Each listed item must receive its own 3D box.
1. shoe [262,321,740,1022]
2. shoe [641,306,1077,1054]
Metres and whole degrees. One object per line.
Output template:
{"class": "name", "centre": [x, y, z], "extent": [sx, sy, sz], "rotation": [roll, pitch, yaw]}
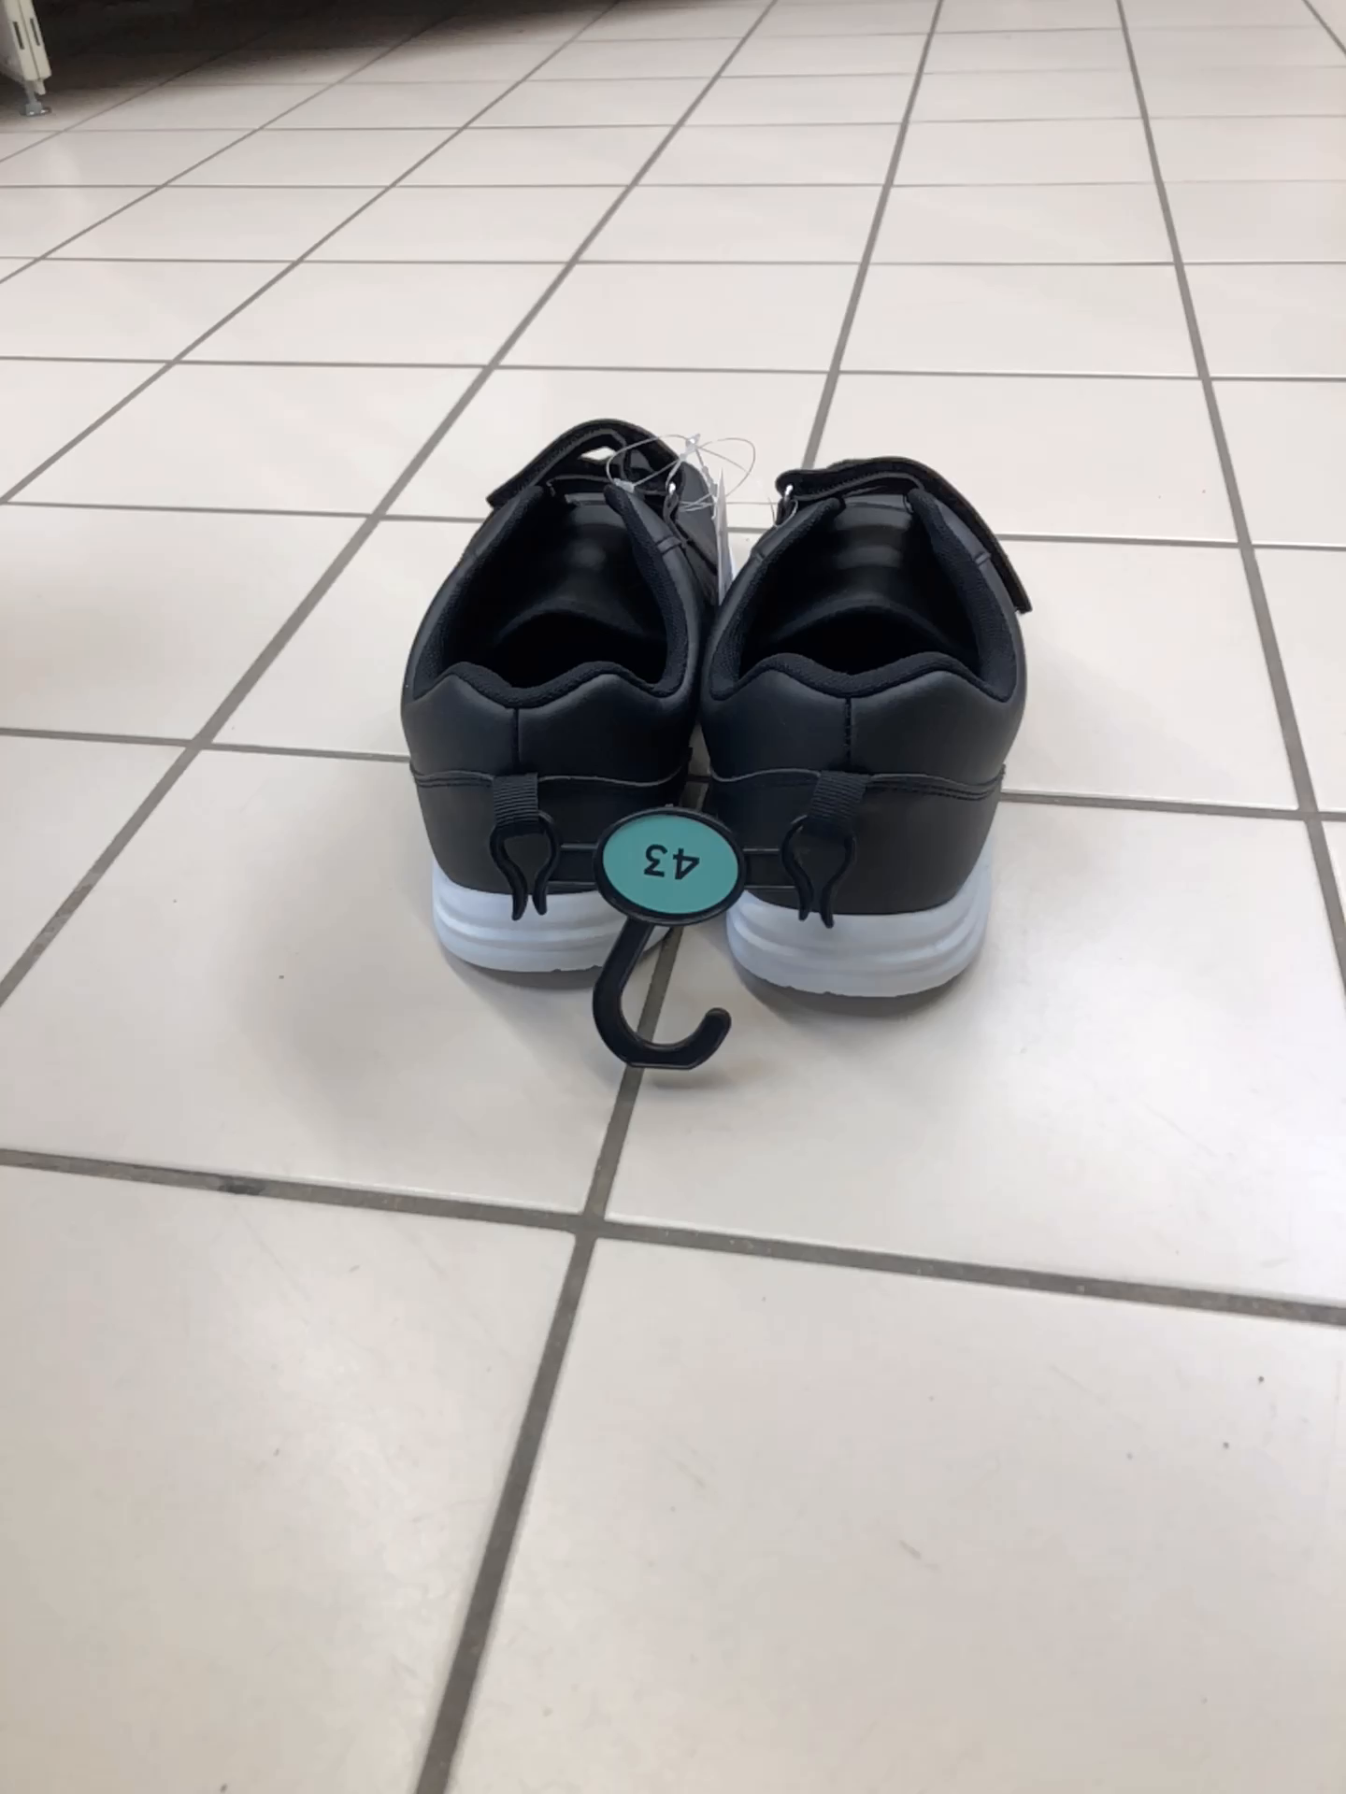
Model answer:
{"class": "shoe", "centre": [-0.037, -0.101, 0.523], "extent": [0.100, 0.099, 0.312], "rotation": [1, 39, 6]}
{"class": "shoe", "centre": [0.064, -0.096, 0.493], "extent": [0.100, 0.099, 0.312], "rotation": [2, 39, 8]}
